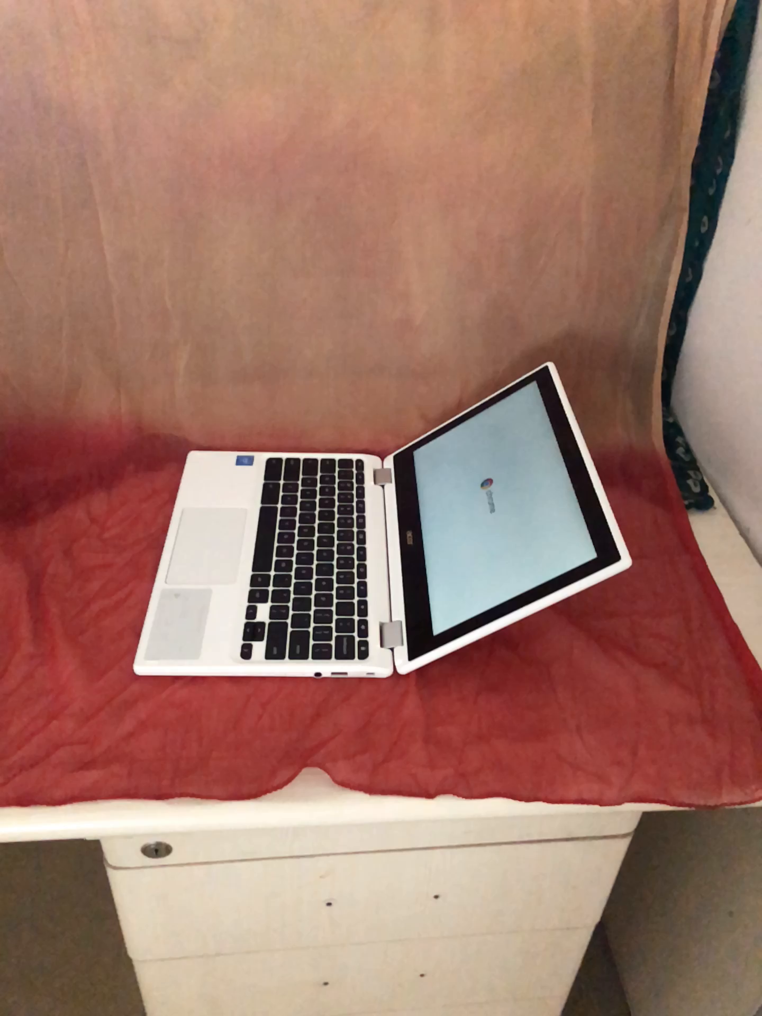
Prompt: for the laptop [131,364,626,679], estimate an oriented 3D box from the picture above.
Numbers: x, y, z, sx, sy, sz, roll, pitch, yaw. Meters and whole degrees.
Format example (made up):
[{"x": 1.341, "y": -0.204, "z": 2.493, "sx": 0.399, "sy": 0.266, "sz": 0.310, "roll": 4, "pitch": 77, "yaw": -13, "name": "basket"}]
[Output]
[{"x": -0.007, "y": 0.000, "z": 0.707, "sx": 0.337, "sy": 0.112, "sz": 0.264, "roll": 1, "pitch": 38, "yaw": -2, "name": "laptop"}]
